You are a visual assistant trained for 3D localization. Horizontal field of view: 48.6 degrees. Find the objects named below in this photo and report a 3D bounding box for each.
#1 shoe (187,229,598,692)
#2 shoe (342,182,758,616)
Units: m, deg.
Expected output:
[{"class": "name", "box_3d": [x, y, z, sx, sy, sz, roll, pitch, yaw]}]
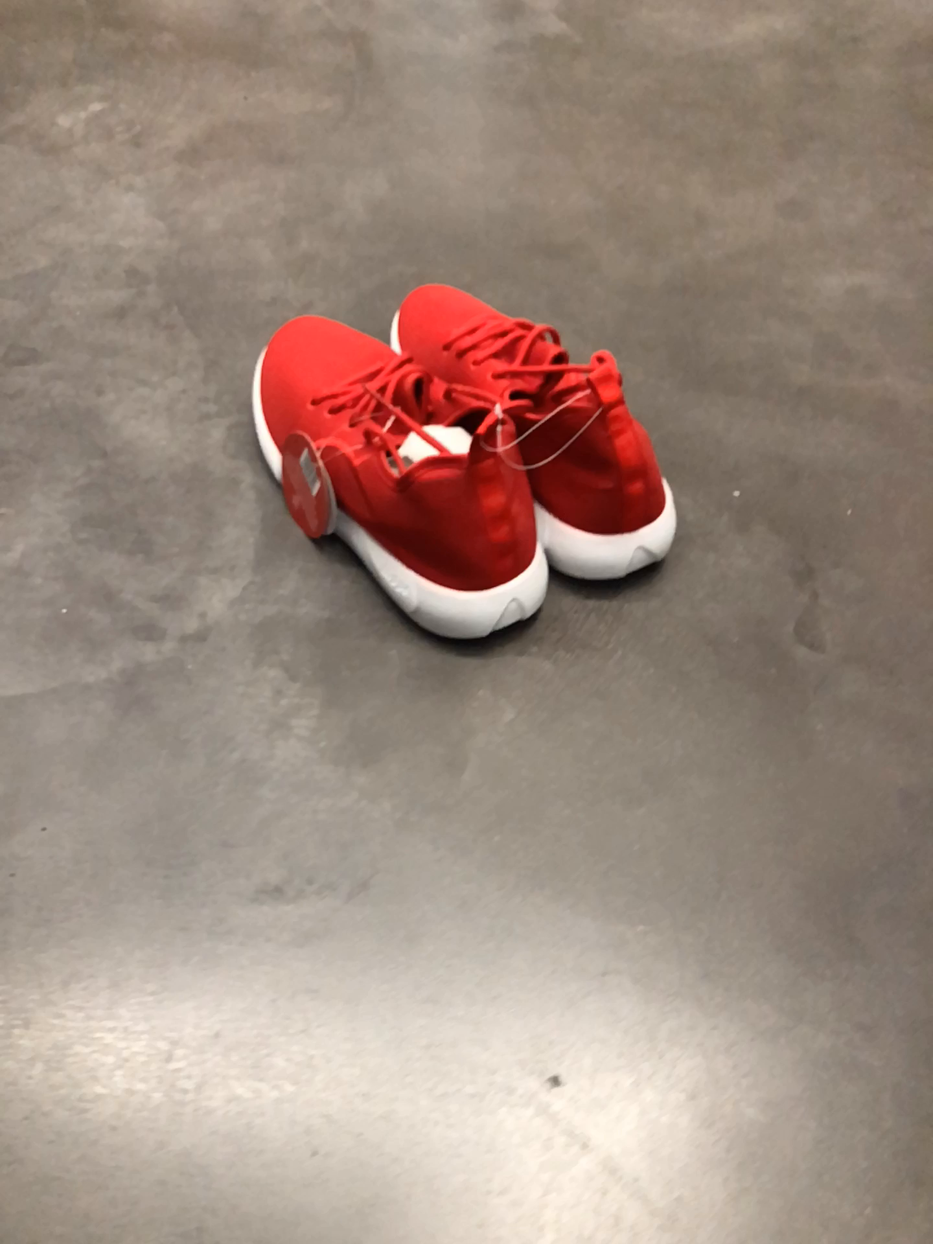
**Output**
[{"class": "shoe", "box_3d": [-0.049, -0.099, 0.561, 0.100, 0.099, 0.251, -24, 54, -21]}, {"class": "shoe", "box_3d": [0.033, -0.137, 0.585, 0.100, 0.099, 0.251, -23, 53, -20]}]
